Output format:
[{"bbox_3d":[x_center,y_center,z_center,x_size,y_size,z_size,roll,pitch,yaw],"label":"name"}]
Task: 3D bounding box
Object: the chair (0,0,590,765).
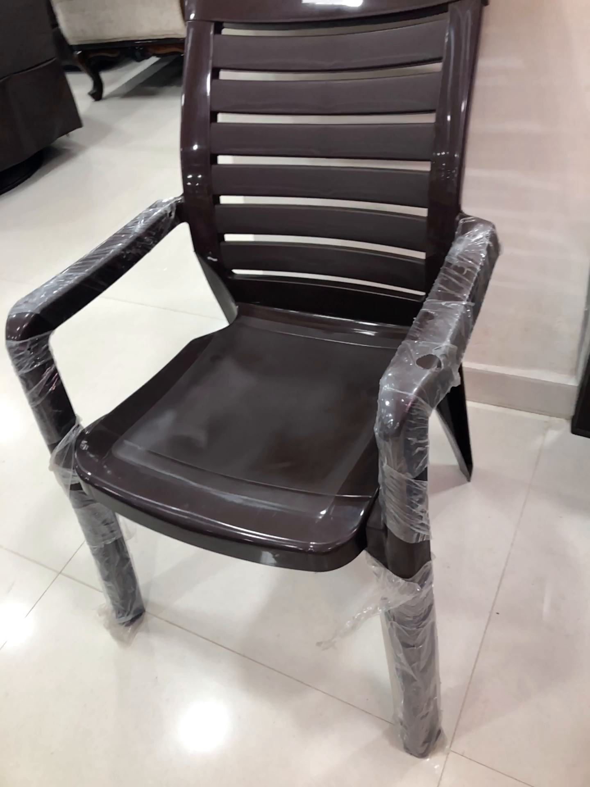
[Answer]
[{"bbox_3d":[0.021,-0.101,0.961,0.640,1.004,0.674,12,48,26],"label":"chair"}]
